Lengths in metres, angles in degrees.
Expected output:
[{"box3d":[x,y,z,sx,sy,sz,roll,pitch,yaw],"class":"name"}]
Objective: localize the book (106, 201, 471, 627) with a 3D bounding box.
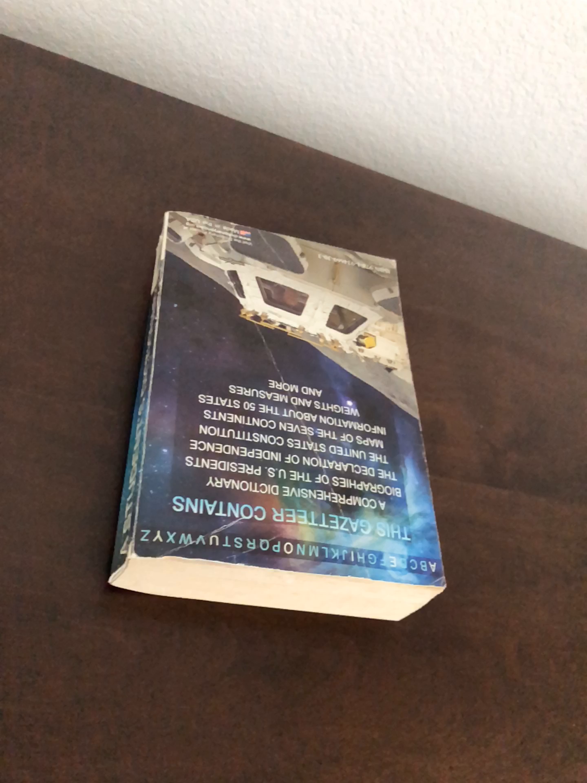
[{"box3d":[-0.002,0.004,0.317,0.140,0.040,0.196,9,54,-14],"class":"book"}]
